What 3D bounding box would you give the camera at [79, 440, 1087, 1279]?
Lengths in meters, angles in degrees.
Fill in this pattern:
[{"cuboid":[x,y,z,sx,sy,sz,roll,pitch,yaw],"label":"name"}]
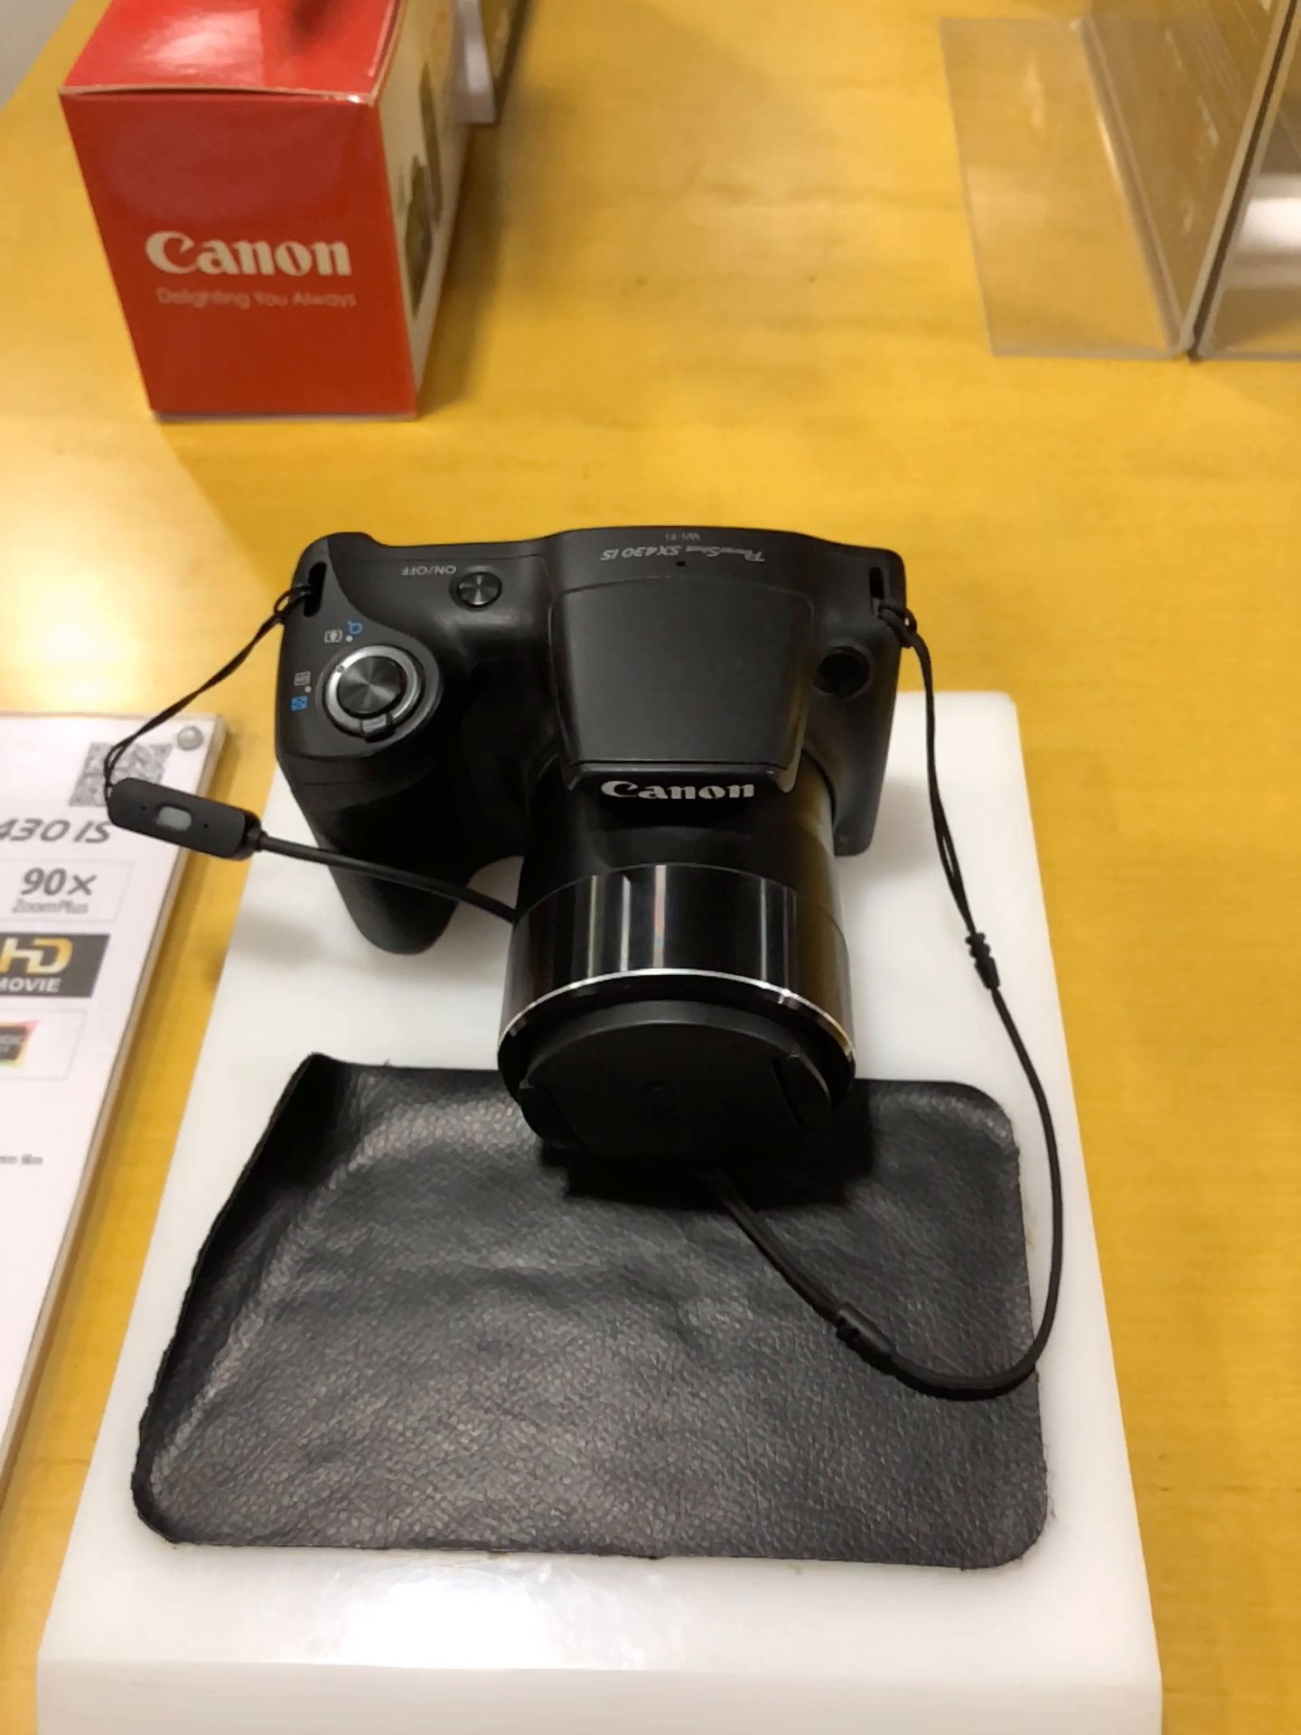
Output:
[{"cuboid":[-0.006,0.001,0.222,0.110,0.090,0.090,1,52,1],"label":"camera"}]
